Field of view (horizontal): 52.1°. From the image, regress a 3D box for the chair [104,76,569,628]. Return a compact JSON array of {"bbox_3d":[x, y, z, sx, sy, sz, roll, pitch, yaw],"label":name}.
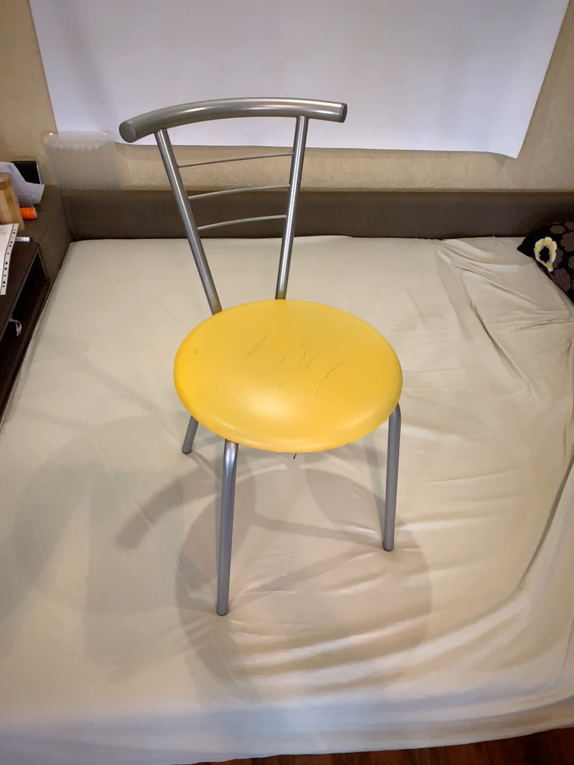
[{"bbox_3d":[0.012,-0.047,1.054,0.461,0.763,0.504,-14,45,-18],"label":"chair"}]
